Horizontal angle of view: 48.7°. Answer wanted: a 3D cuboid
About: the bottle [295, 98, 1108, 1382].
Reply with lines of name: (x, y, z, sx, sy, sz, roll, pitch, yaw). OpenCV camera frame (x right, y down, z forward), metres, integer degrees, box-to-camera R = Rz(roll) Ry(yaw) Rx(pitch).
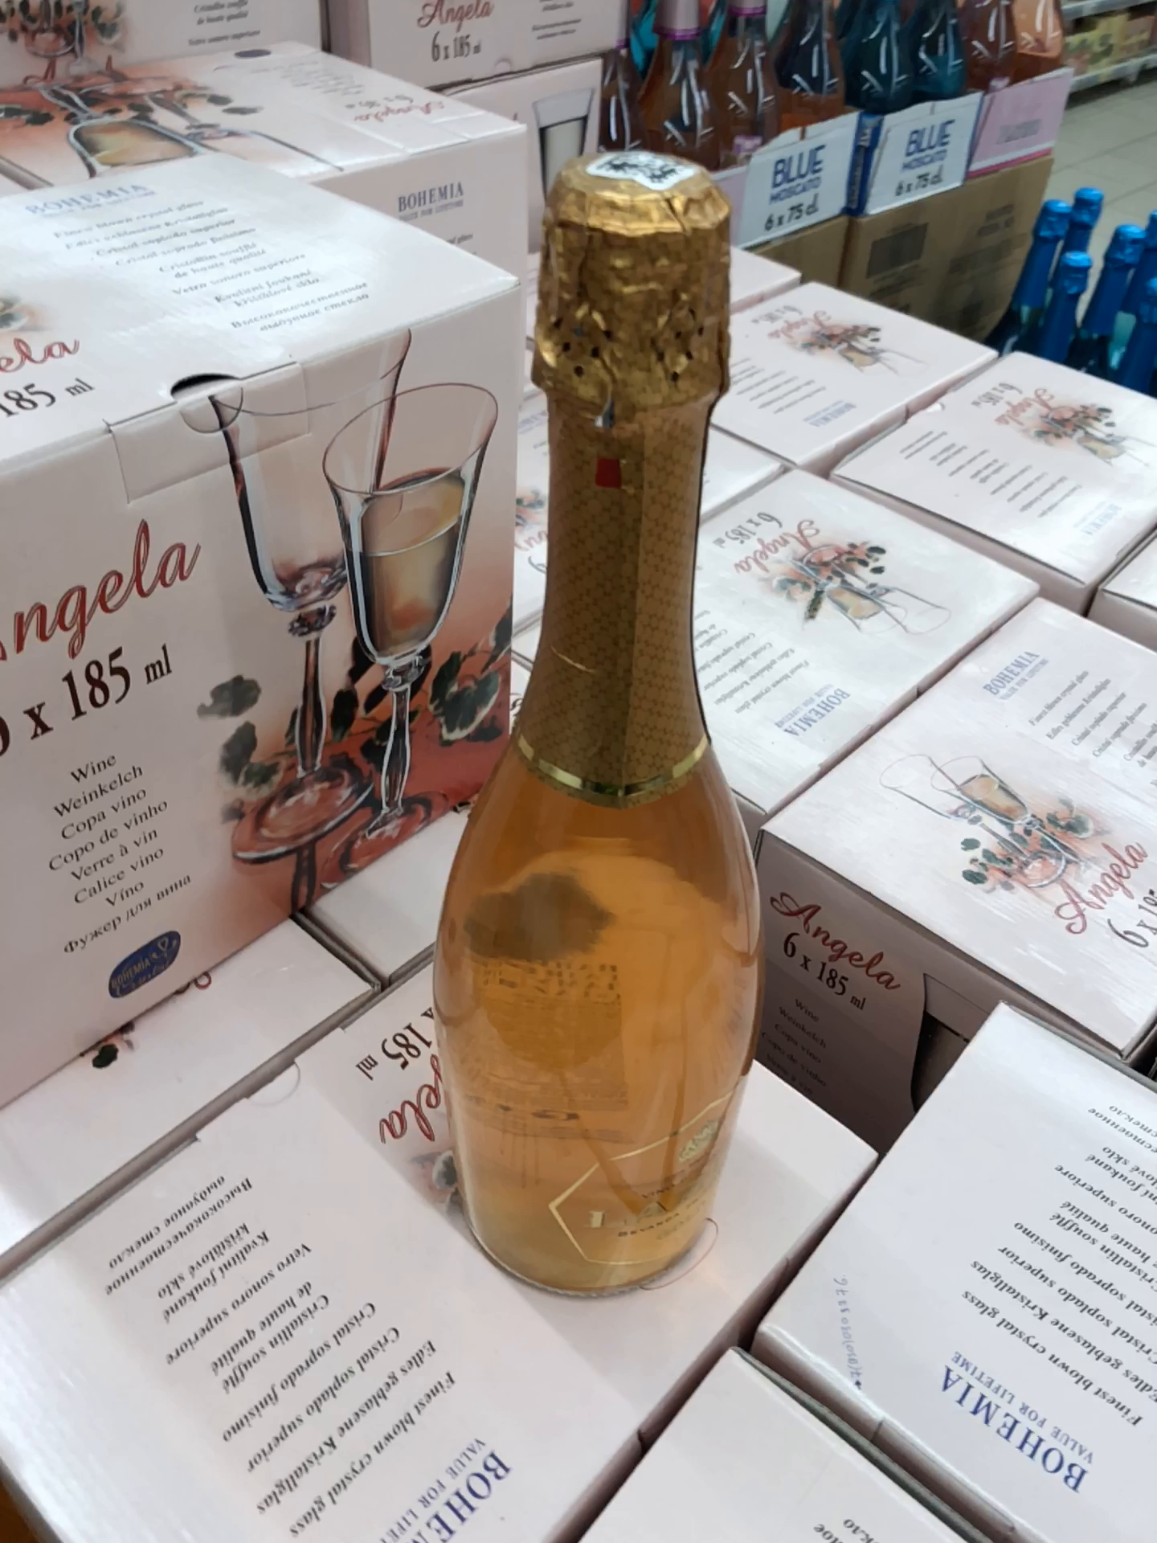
bottle: (0.010, 0.017, 0.310, 0.100, 0.298, 0.090, -23, 48, -27)
